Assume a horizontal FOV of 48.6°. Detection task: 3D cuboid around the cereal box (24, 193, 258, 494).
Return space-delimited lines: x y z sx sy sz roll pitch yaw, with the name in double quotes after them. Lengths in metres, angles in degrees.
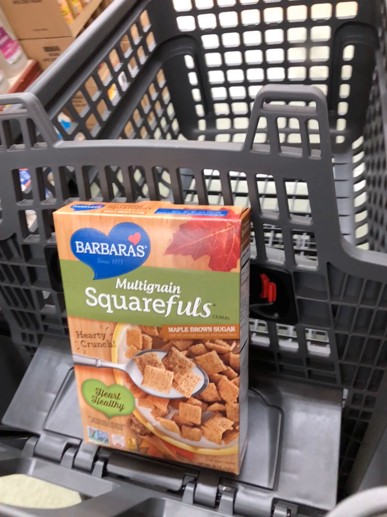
-0.041 0.075 0.405 0.190 0.260 0.060 4 20 17 "cereal box"
